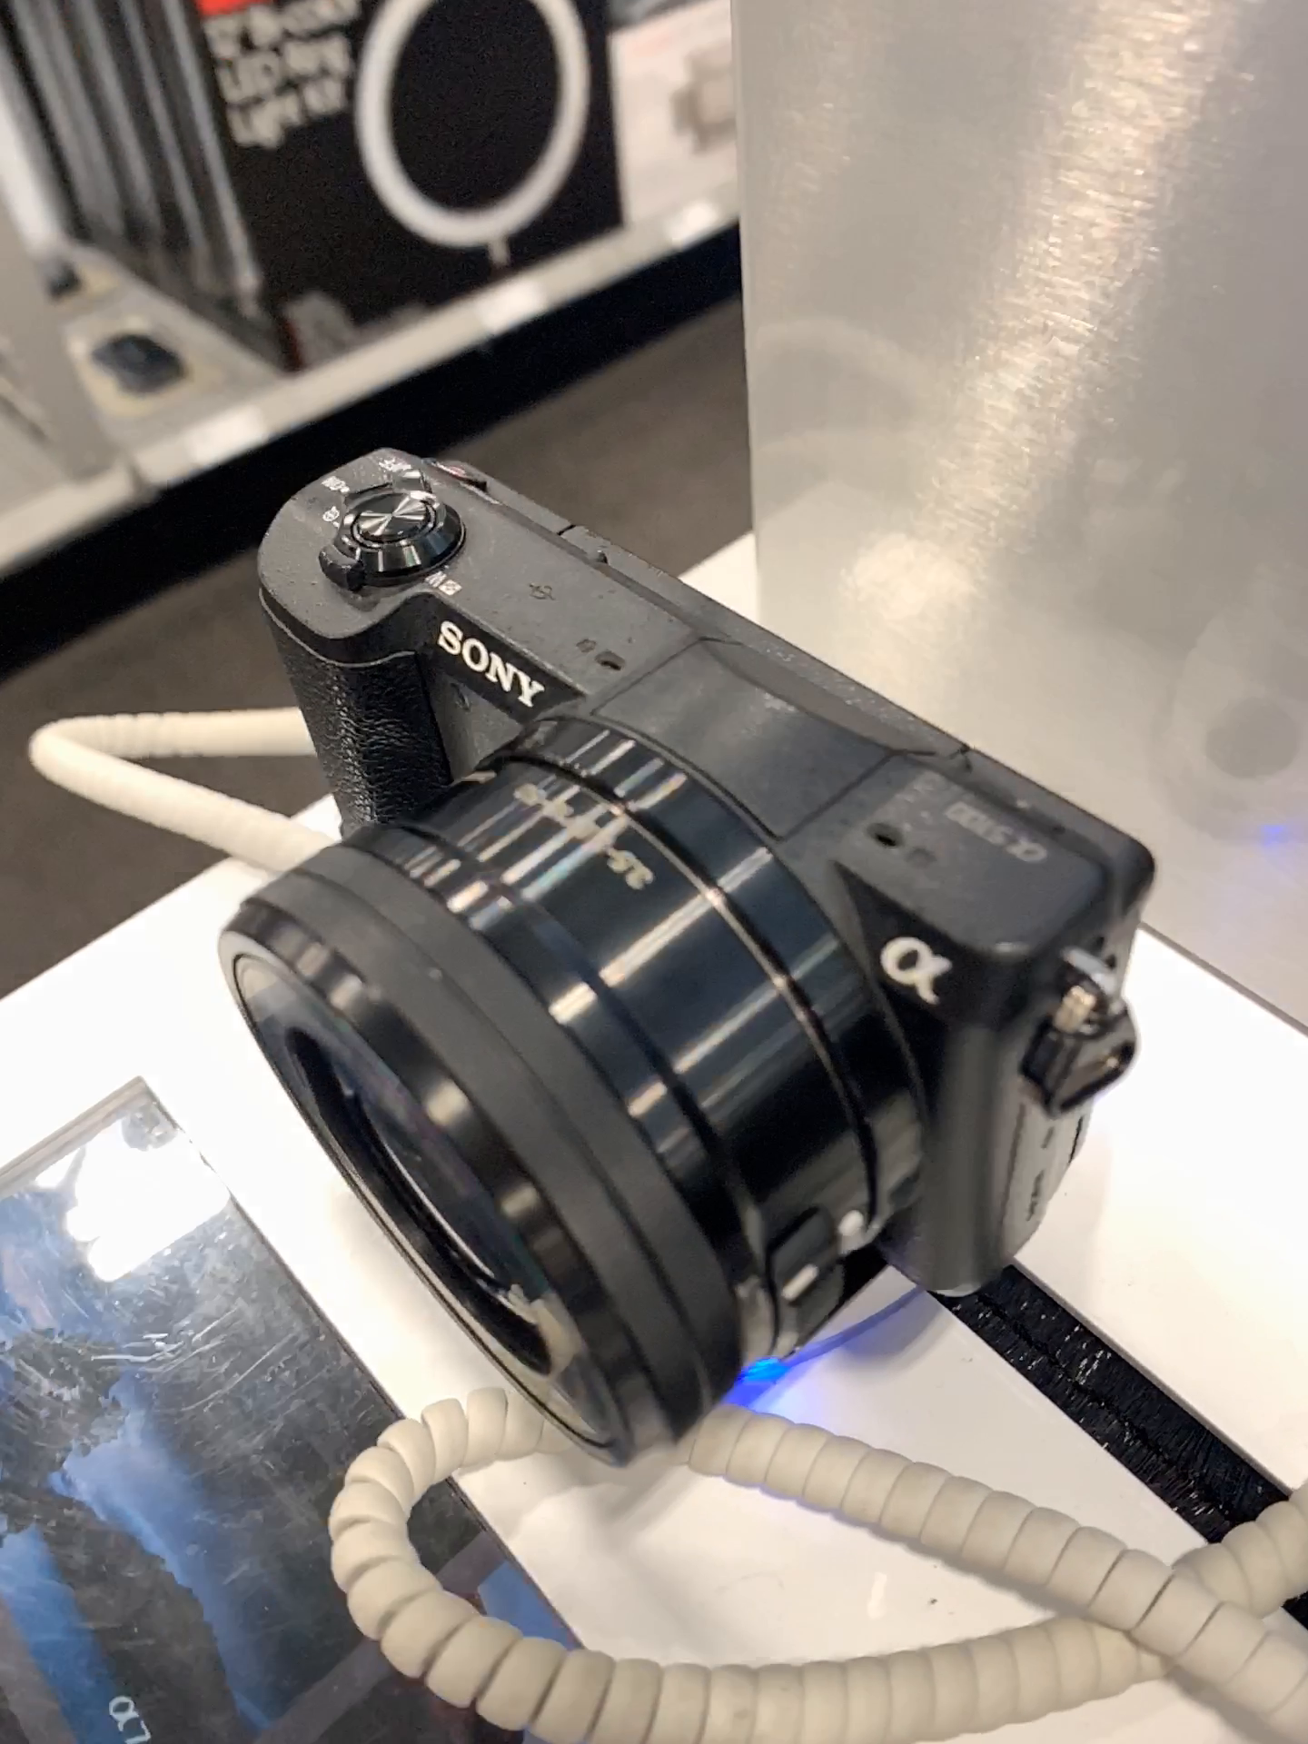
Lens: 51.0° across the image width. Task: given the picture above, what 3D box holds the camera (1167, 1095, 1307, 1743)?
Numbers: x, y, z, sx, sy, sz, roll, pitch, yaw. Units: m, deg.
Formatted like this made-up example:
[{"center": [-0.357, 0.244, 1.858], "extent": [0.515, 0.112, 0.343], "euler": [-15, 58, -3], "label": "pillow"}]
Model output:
[{"center": [0.104, 0.088, 0.049], "extent": [0.071, 0.060, 0.137], "euler": [-31, 53, -24], "label": "camera"}]

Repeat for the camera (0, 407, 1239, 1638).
[{"center": [-0.011, 0.008, 0.154], "extent": [0.066, 0.060, 0.113], "euler": [-39, 56, -23], "label": "camera"}]
